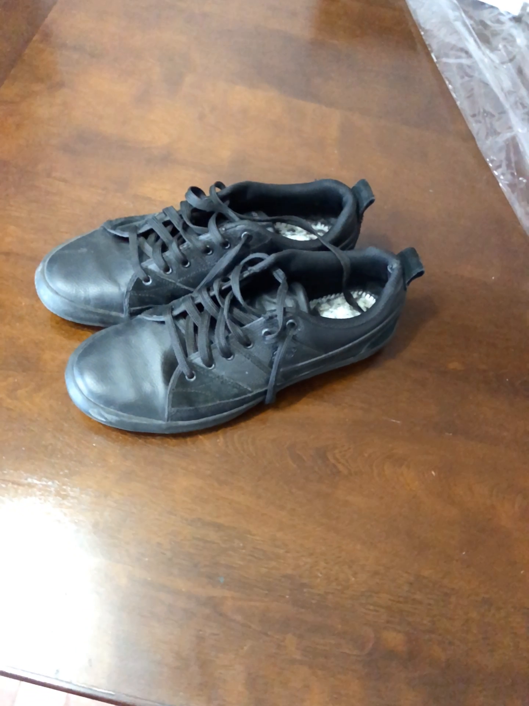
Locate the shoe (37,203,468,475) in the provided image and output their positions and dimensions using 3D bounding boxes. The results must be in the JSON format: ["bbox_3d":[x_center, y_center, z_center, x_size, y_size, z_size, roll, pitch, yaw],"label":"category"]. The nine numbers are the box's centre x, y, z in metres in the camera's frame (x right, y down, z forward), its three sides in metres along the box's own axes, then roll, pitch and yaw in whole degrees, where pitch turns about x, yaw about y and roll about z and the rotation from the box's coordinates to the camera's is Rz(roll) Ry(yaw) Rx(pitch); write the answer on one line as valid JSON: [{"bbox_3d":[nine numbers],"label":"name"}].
[{"bbox_3d":[-0.009,-0.014,0.481,0.300,0.110,0.110,-16,66,-14],"label":"shoe"}]

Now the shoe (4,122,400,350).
[{"bbox_3d":[-0.053,-0.105,0.522,0.300,0.110,0.110,-12,65,-12],"label":"shoe"}]
